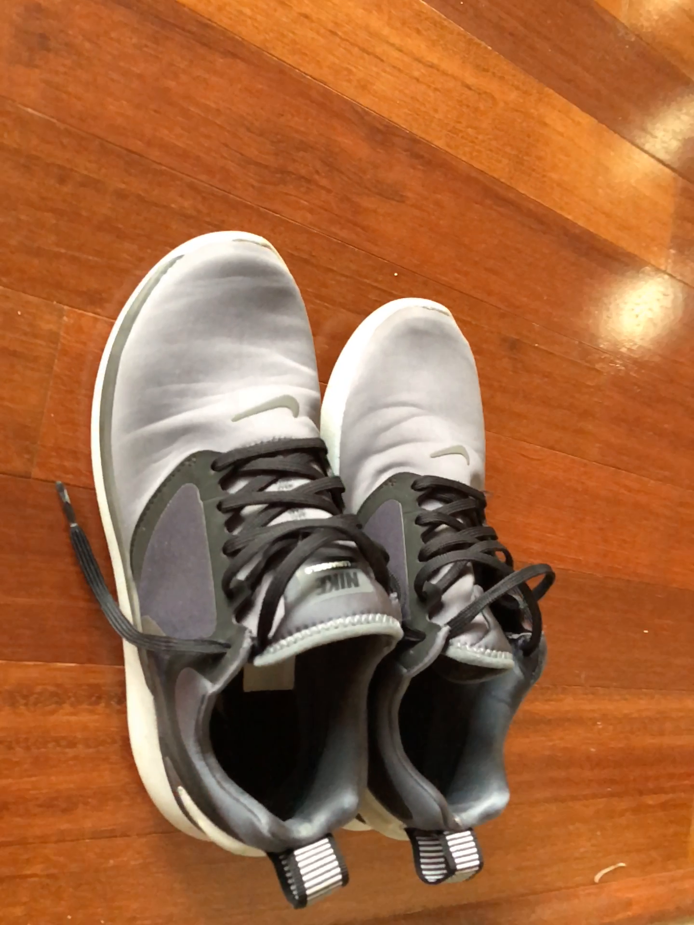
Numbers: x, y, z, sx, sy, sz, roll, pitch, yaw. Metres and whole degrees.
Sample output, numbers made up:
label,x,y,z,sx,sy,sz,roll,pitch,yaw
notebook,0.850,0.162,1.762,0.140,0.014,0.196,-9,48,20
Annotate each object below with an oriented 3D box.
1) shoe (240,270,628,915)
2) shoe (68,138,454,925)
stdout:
label,x,y,z,sx,sy,sz,roll,pitch,yaw
shoe,0.040,0.052,0.355,0.110,0.100,0.240,11,85,-33
shoe,-0.037,0.023,0.301,0.110,0.100,0.240,2,90,-33
